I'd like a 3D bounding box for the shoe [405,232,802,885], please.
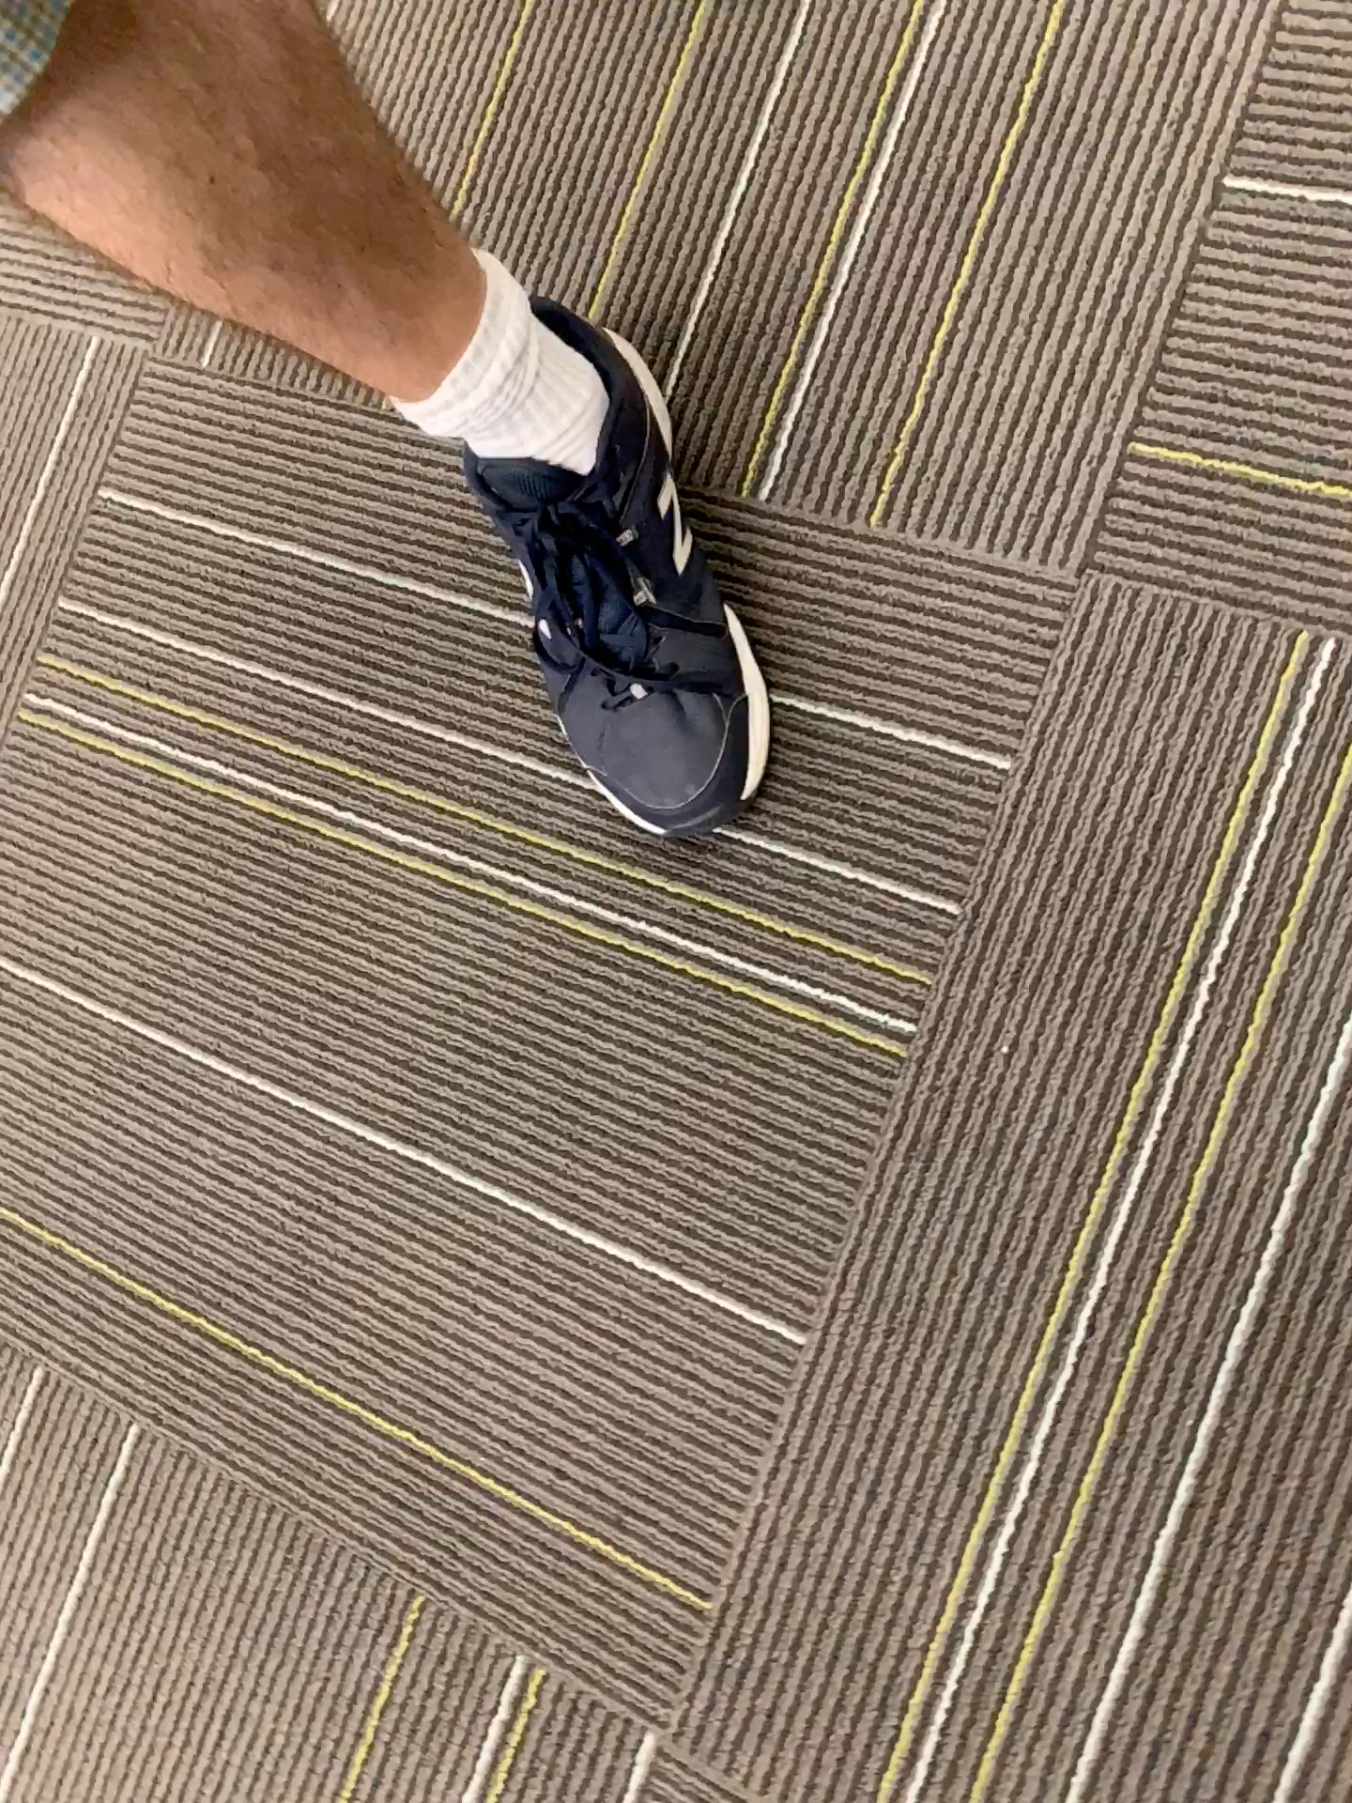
[{"bbox_3d":[-0.041,-0.179,0.742,0.130,0.070,0.310,-17,77,17],"label":"shoe"}]
